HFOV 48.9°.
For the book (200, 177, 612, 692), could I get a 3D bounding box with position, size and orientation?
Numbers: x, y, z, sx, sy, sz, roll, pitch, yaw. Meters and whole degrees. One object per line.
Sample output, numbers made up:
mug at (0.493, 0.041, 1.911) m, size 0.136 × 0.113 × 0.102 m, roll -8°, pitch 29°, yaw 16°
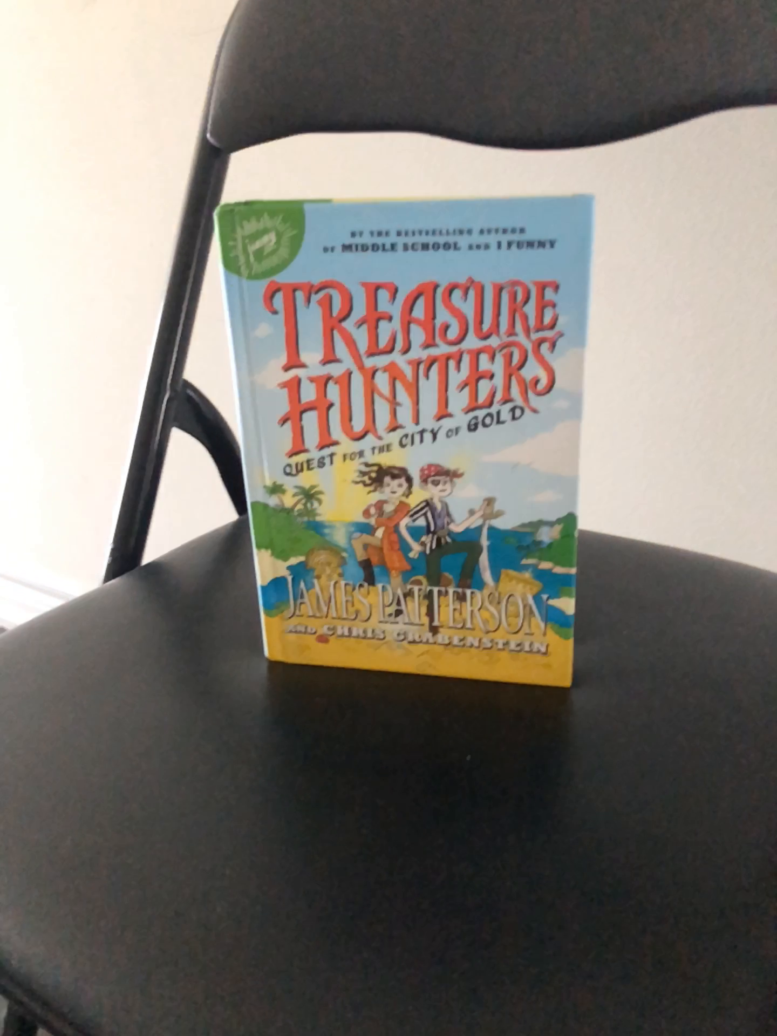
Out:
book at (0.014, -0.029, 0.378) m, size 0.154 × 0.215 × 0.040 m, roll 2°, pitch 27°, yaw 14°
